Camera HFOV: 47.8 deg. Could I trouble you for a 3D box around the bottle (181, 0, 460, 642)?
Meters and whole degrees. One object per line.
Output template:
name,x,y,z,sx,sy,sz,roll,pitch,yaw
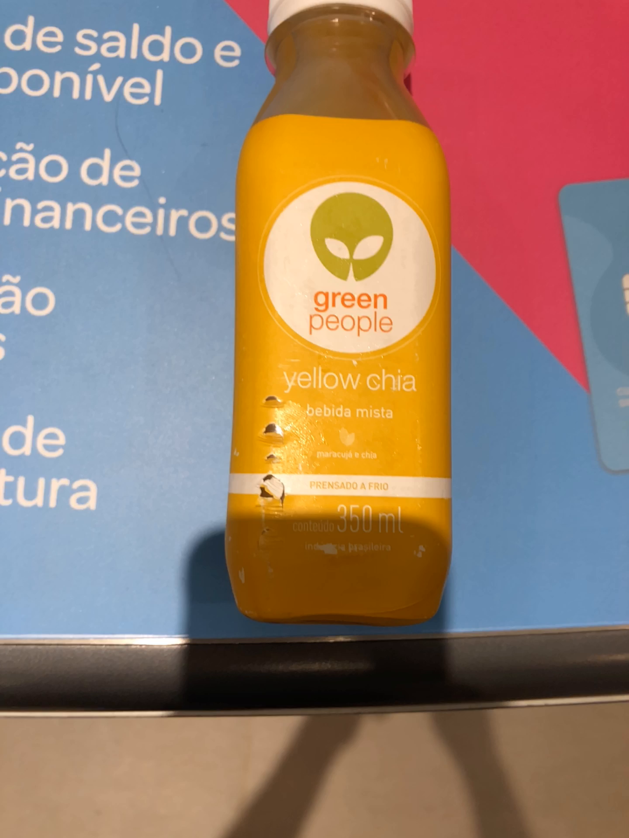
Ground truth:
bottle,-0.001,-0.039,0.193,0.060,0.060,0.180,0,83,-3
